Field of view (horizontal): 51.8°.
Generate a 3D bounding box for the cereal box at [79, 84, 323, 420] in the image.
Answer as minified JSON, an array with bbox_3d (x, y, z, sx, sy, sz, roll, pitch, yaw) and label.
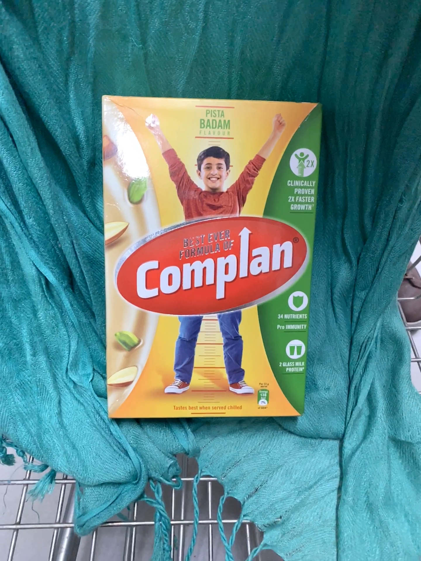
[{"bbox_3d":[-0.006,-0.017,0.291,0.140,0.060,0.200,-1,97,-3],"label":"cereal box"}]
